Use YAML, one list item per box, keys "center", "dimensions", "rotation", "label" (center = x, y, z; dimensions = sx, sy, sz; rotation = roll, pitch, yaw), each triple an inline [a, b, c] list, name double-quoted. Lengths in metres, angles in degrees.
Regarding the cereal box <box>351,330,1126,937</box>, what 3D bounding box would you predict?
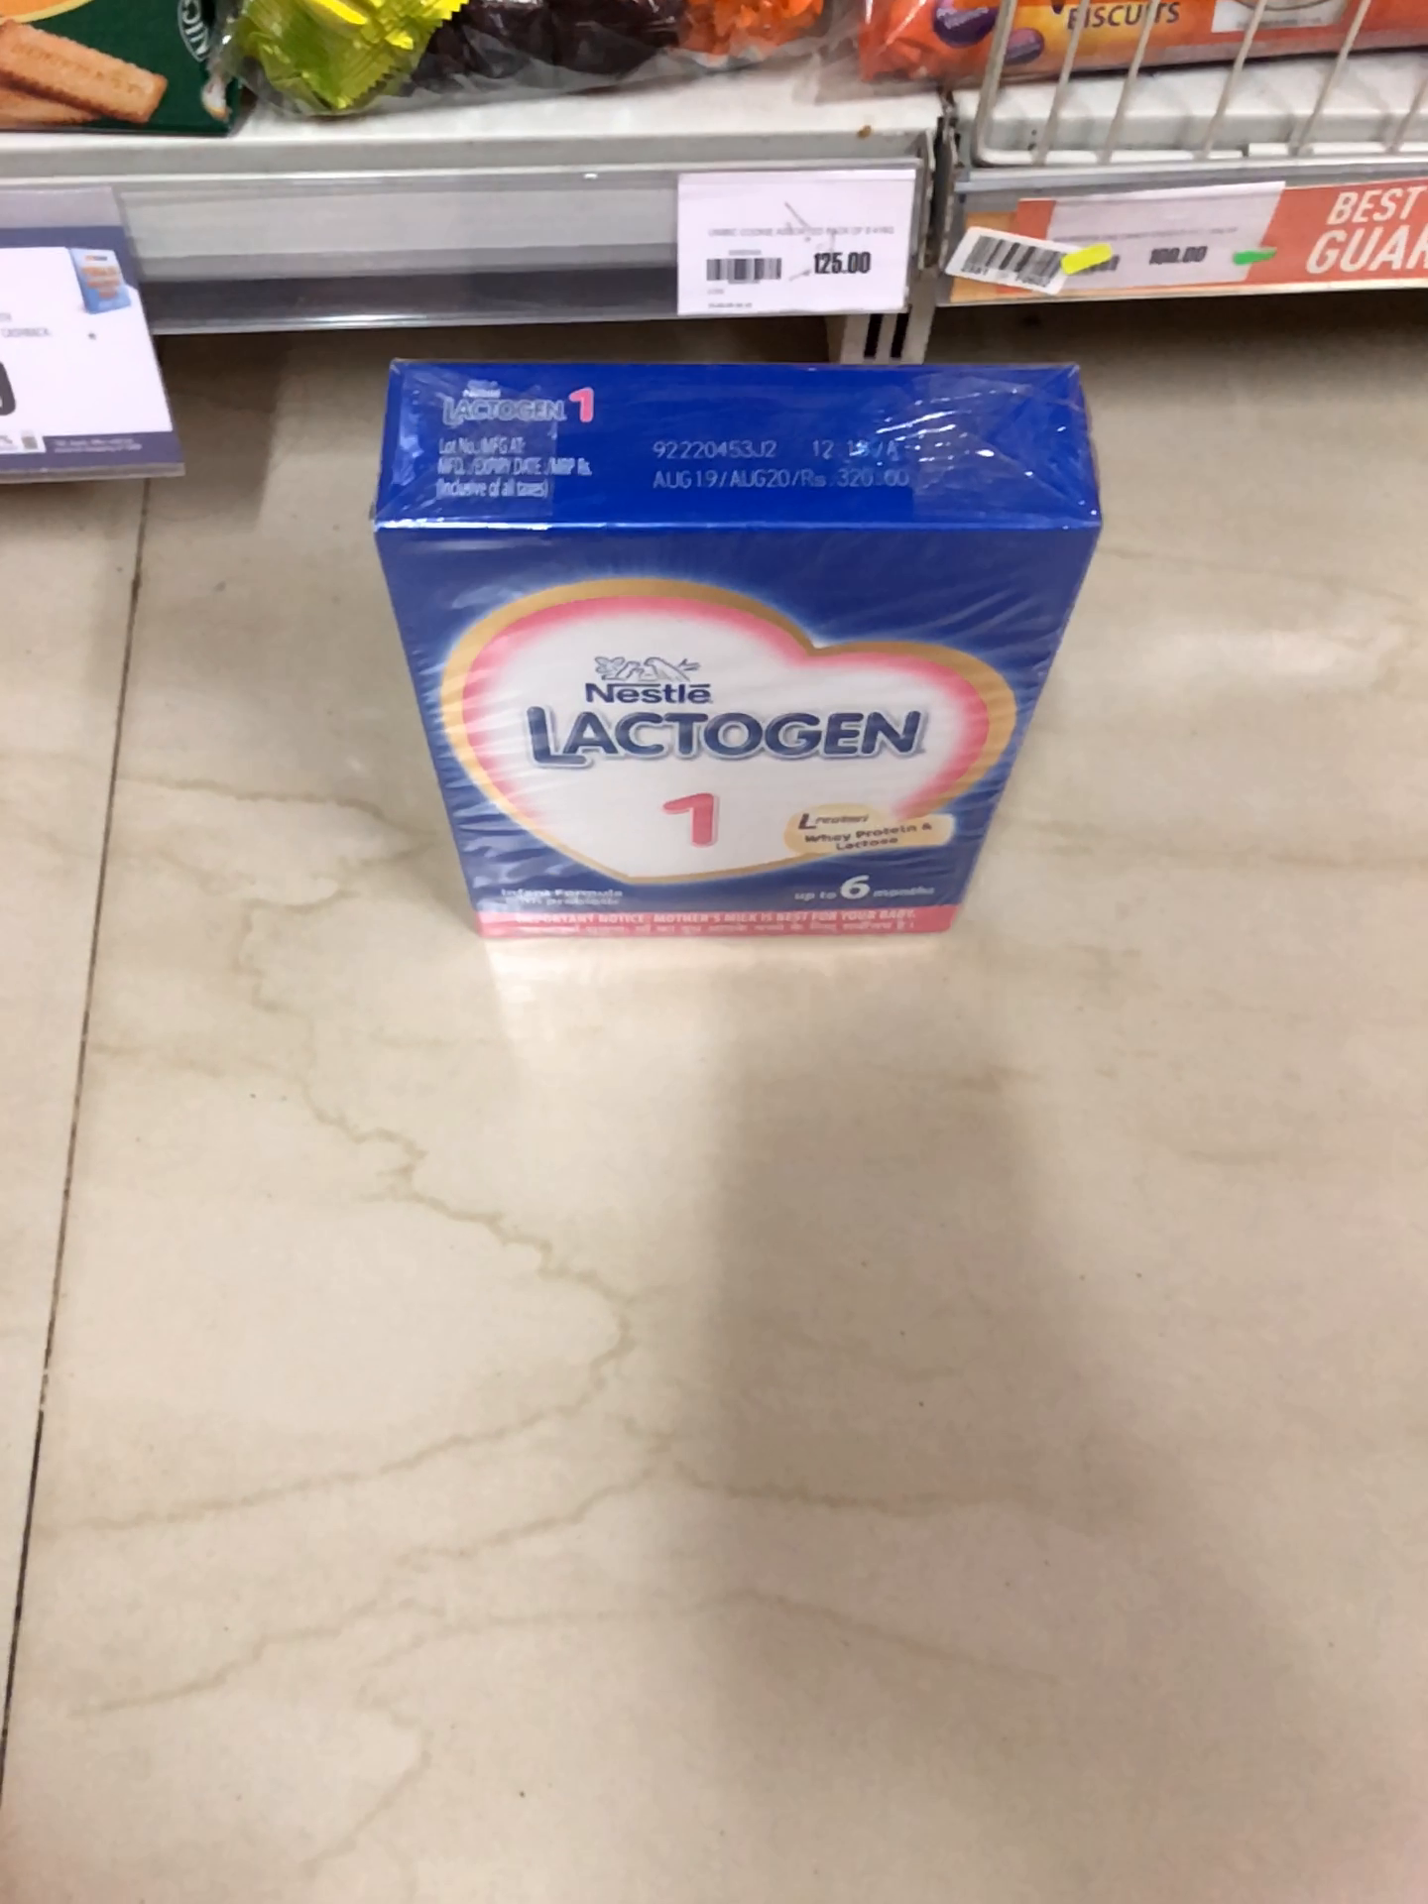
- center: [0.001, -0.067, 0.402]
  dimensions: [0.150, 0.189, 0.050]
  rotation: [-1, 66, -3]
  label: "cereal box"
